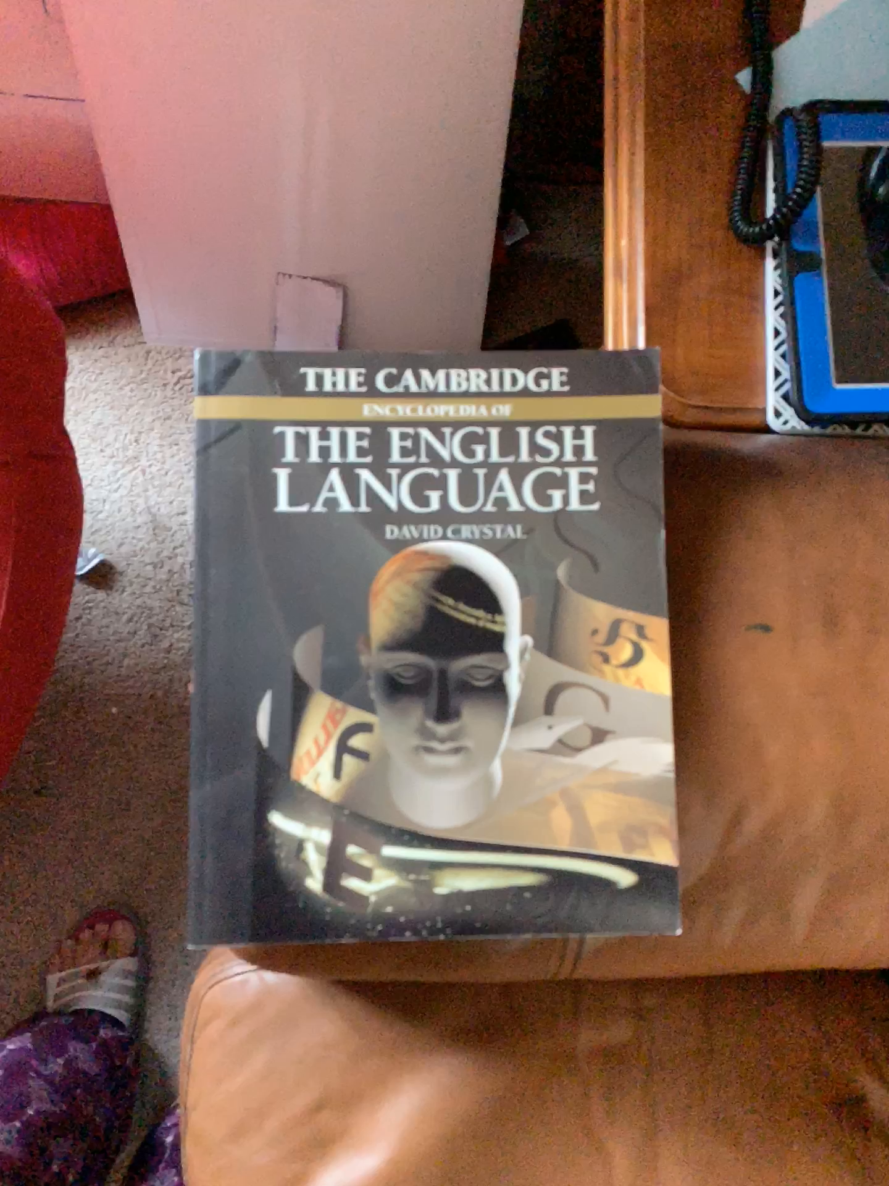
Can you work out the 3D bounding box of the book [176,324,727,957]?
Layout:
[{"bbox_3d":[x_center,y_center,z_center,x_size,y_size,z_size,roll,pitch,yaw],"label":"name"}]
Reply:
[{"bbox_3d":[0.002,0.017,0.431,0.240,0.050,0.280,0,83,-4],"label":"book"}]
